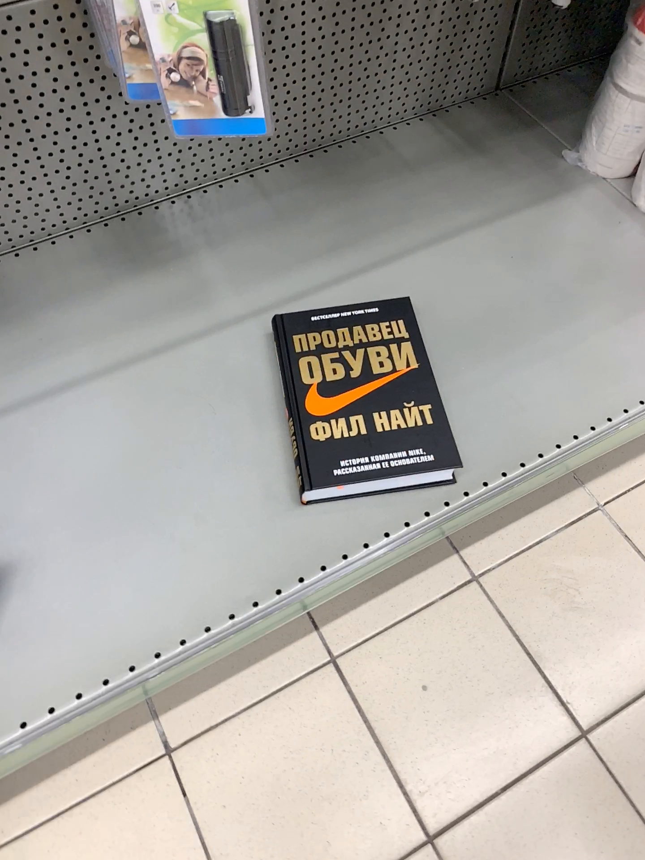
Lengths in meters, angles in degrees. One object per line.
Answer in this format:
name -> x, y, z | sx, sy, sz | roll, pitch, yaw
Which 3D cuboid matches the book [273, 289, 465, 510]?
book -> 0.042, -0.044, 0.751 | 0.166, 0.049, 0.250 | -8, 58, -5
